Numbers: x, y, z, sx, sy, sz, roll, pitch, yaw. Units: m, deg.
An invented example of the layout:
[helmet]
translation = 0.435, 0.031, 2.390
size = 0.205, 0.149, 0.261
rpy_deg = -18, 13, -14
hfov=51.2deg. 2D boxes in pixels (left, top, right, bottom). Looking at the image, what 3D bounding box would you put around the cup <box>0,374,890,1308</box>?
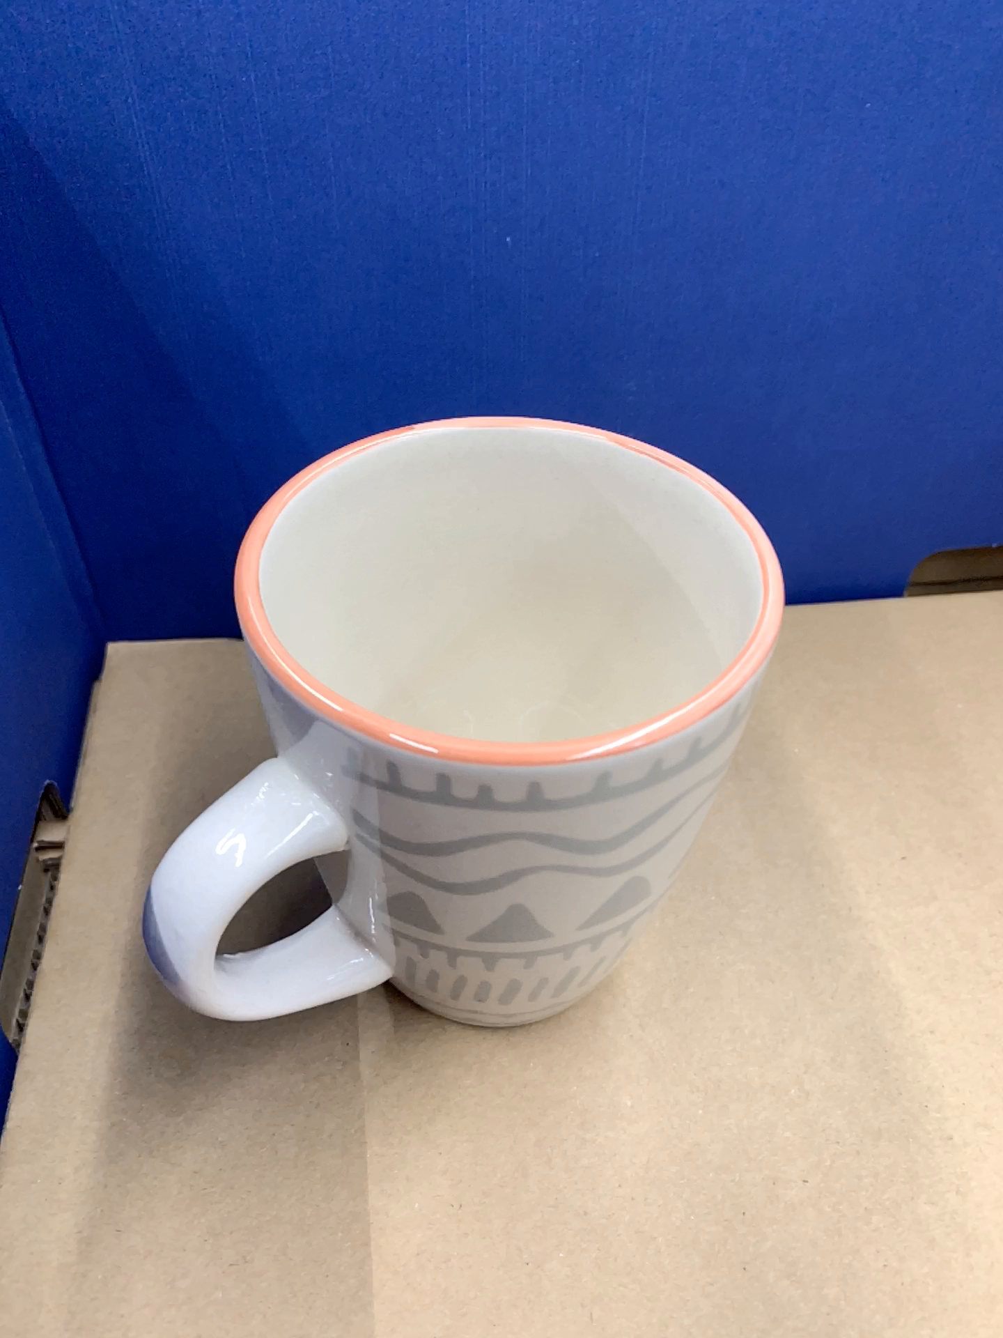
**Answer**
[cup]
translation = -0.009, 0.019, 0.195
size = 0.097, 0.082, 0.119
rpy_deg = 30, 50, 28
